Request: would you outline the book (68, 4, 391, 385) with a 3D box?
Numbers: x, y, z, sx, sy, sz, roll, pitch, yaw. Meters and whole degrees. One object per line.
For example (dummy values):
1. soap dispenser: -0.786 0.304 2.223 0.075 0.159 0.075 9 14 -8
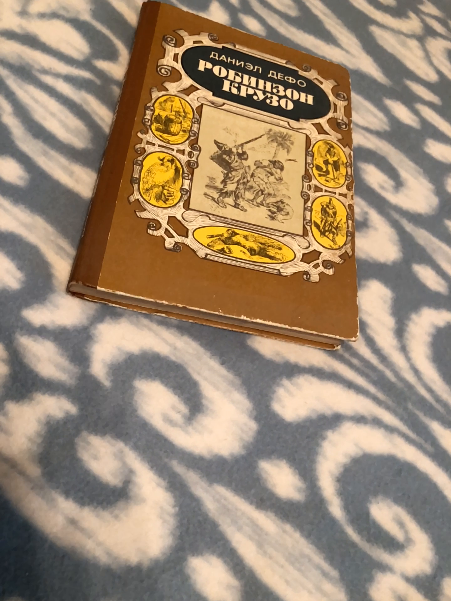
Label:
1. book: 0.017 -0.080 0.329 0.178 0.024 0.242 12 63 -12
